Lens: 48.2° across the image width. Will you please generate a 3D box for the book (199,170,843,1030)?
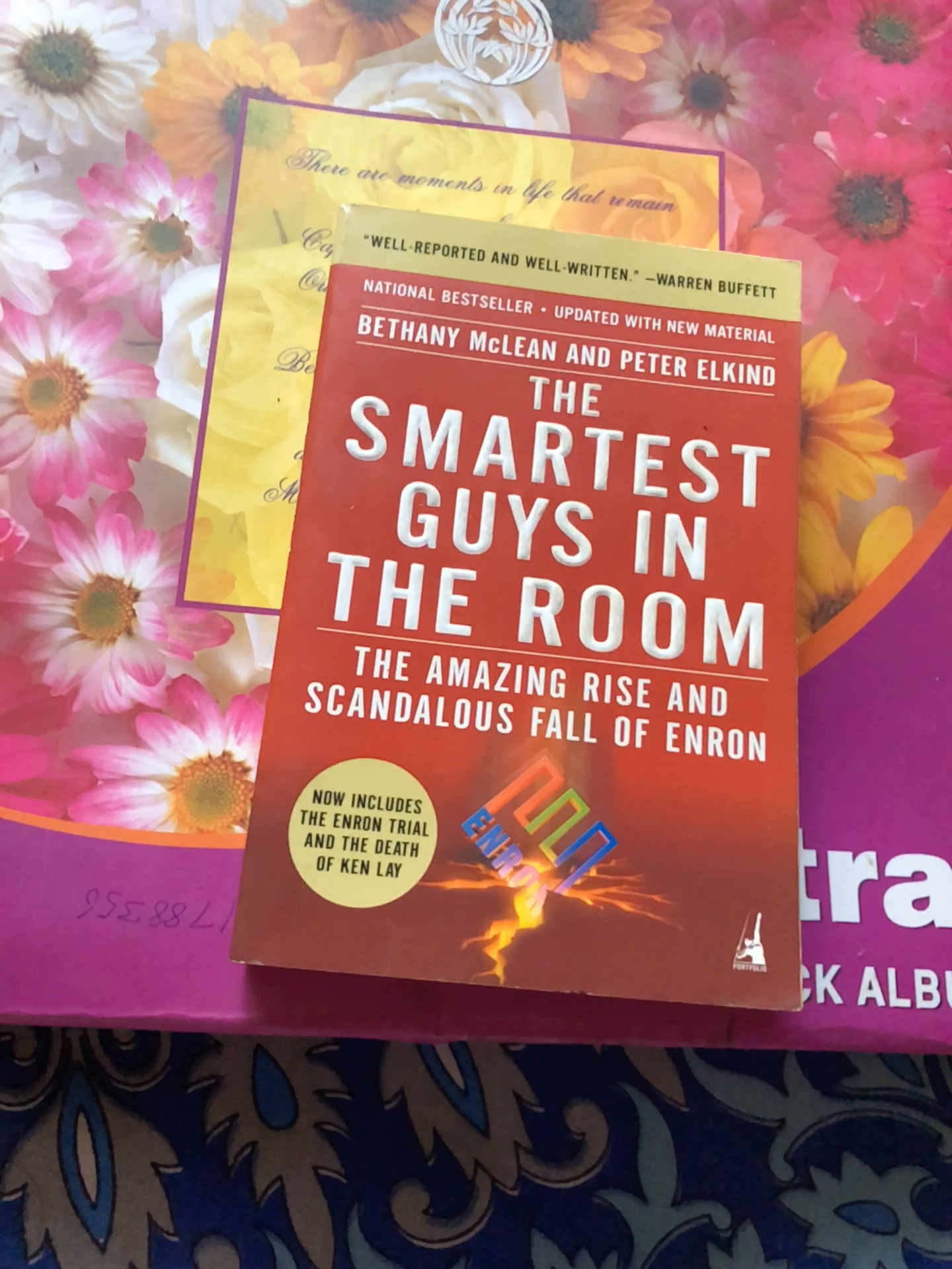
[{"bbox_3d":[0.020,-0.015,0.296,0.150,0.040,0.220,5,76,1],"label":"book"}]
